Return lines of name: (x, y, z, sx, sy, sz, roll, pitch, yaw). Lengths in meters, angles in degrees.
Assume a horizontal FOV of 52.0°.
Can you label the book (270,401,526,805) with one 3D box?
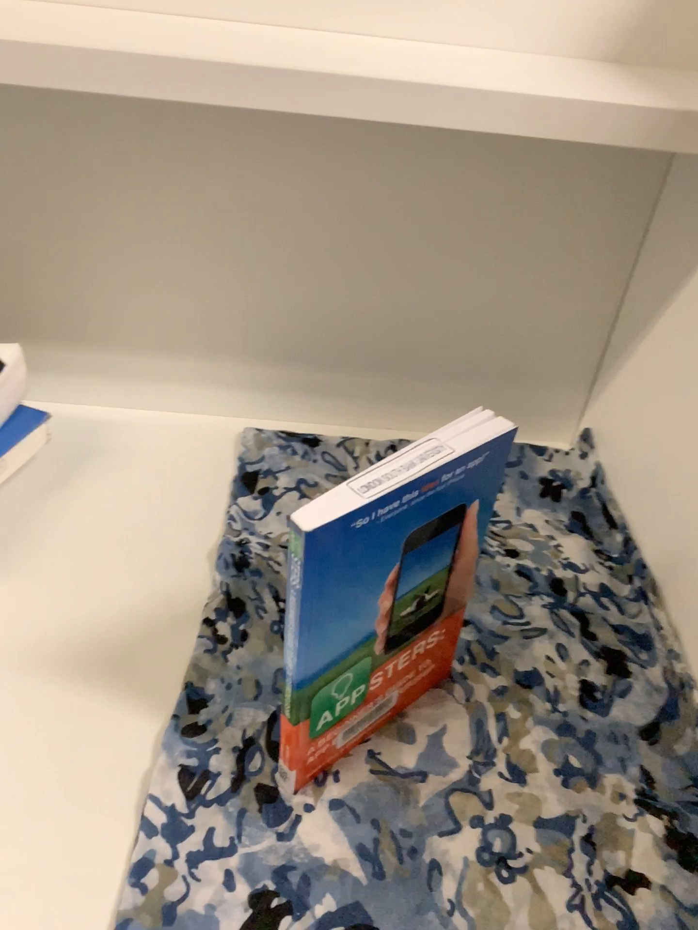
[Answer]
book: (0.022, 0.079, 0.389, 0.141, 0.203, 0.024, -27, 48, -36)
